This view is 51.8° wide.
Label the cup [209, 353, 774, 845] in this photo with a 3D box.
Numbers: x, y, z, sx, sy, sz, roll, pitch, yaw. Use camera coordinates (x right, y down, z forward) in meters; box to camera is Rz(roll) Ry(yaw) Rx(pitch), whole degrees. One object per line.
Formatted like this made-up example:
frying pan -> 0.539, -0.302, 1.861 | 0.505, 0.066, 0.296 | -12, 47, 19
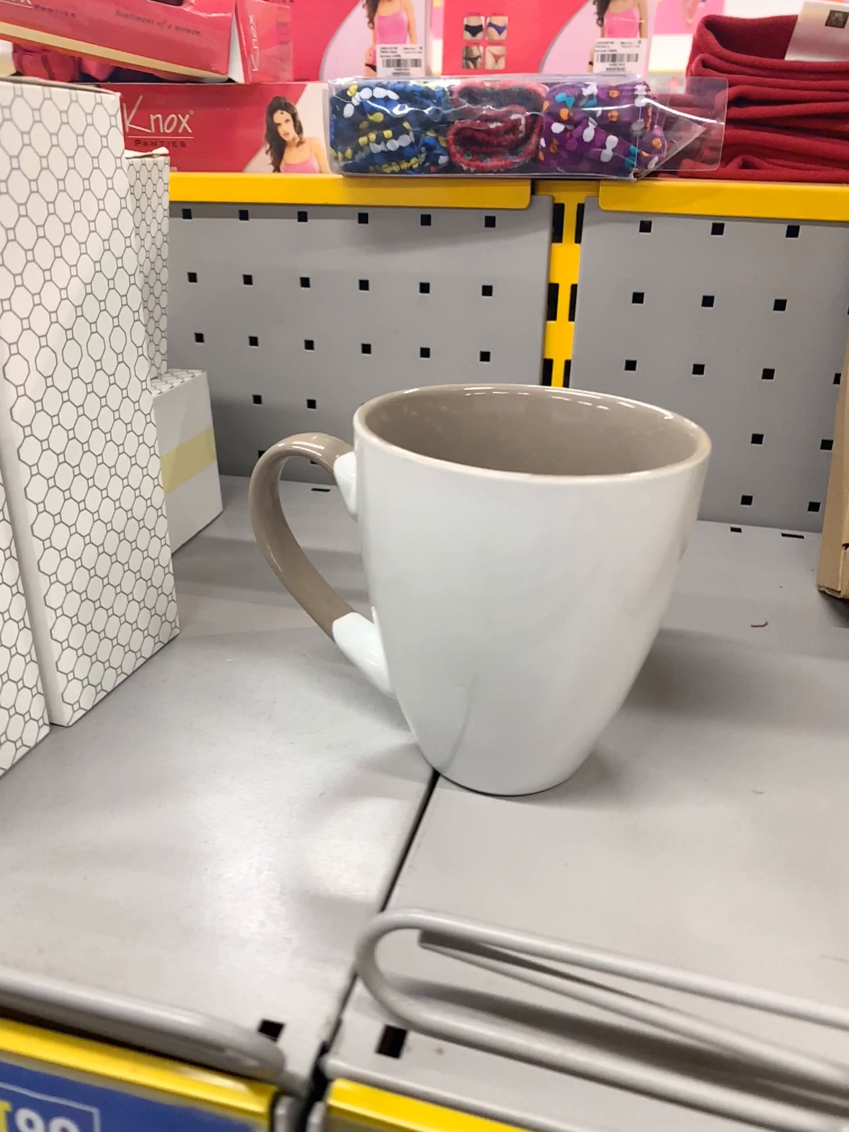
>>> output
cup -> 0.025, -0.002, 0.274 | 0.140, 0.100, 0.100 | 9, 26, 17
